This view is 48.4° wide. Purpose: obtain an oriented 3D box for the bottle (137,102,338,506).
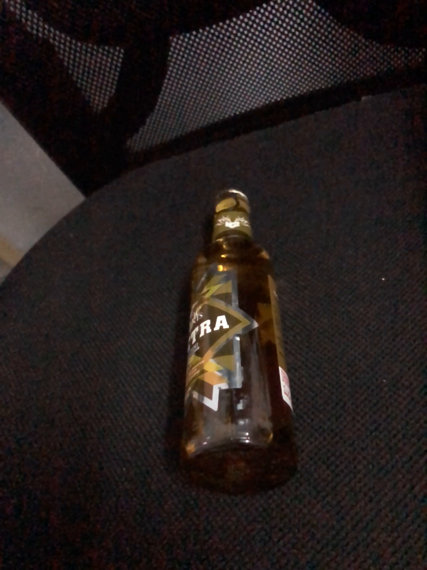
[{"bbox_3d":[0.008,-0.004,0.282,0.070,0.060,0.231,-20,49,21],"label":"bottle"}]
